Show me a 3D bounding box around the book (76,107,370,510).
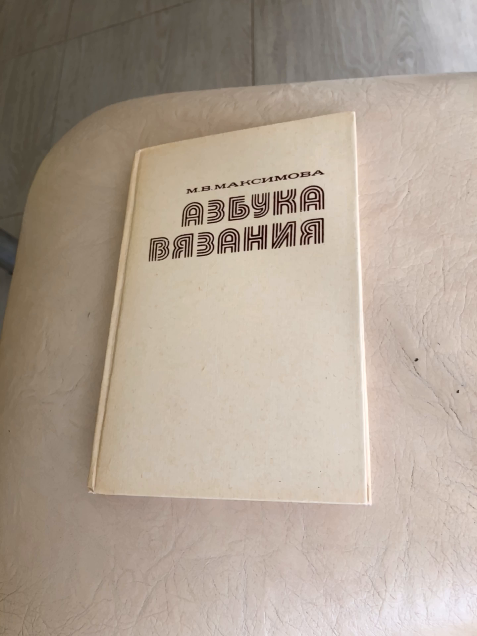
[{"bbox_3d":[-0.005,-0.011,0.302,0.148,0.024,0.218,-4,69,19],"label":"book"}]
